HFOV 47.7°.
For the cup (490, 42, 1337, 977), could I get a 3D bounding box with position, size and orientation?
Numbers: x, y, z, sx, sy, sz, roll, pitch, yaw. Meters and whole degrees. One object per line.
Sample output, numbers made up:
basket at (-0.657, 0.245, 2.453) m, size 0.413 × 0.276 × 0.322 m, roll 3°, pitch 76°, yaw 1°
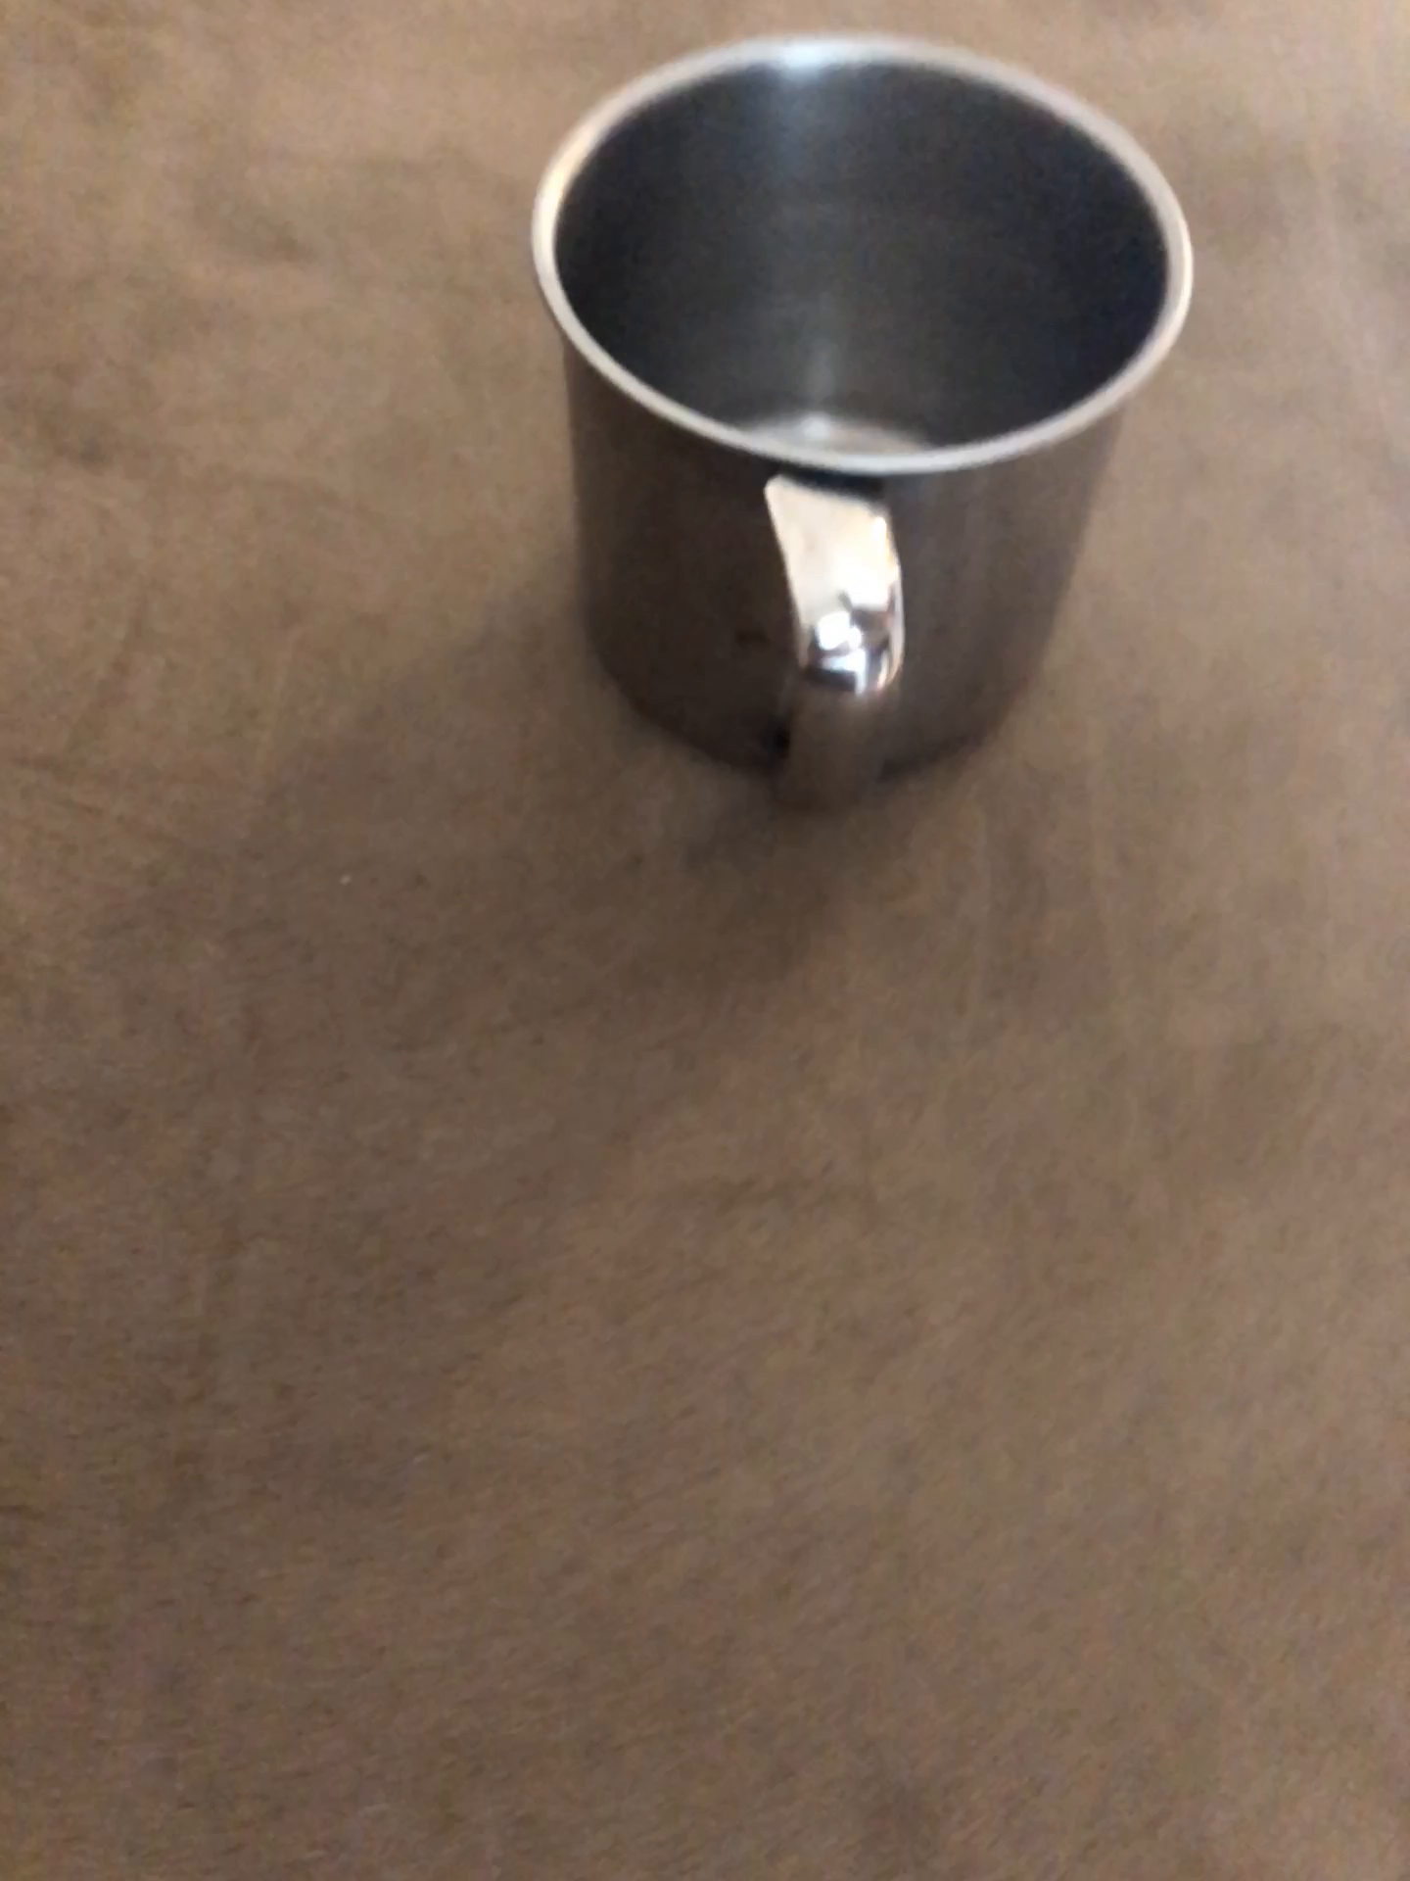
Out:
cup at (0.022, -0.060, 0.227) m, size 0.090 × 0.070 × 0.111 m, roll 0°, pitch 61°, yaw 0°
